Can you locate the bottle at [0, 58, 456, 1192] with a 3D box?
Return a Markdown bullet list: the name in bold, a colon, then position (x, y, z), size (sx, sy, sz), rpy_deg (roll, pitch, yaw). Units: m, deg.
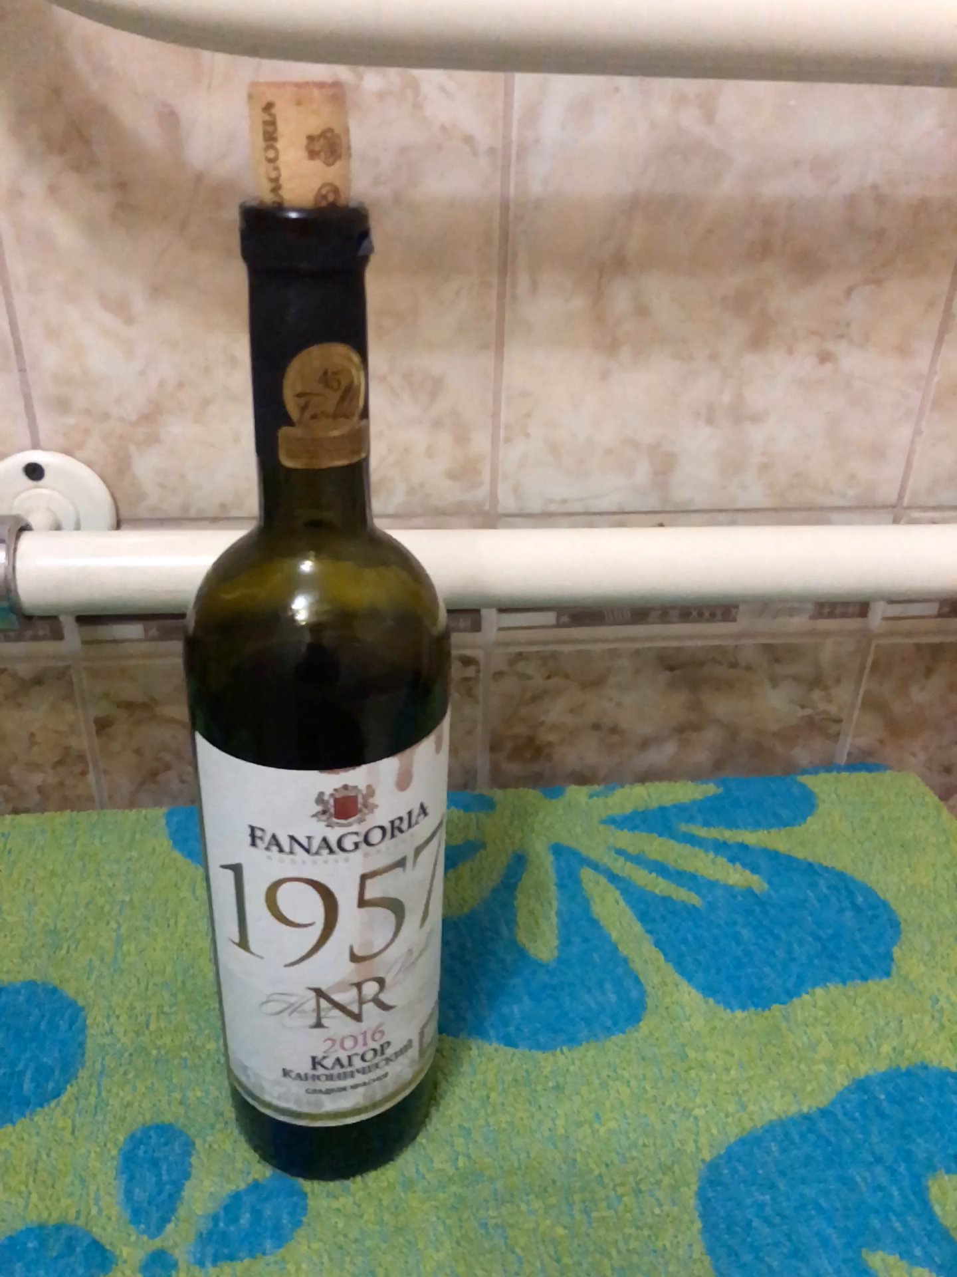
- **bottle**: position (-0.051, 0.020, 0.299), size (0.080, 0.318, 0.080), rpy_deg (1, 30, -1)
